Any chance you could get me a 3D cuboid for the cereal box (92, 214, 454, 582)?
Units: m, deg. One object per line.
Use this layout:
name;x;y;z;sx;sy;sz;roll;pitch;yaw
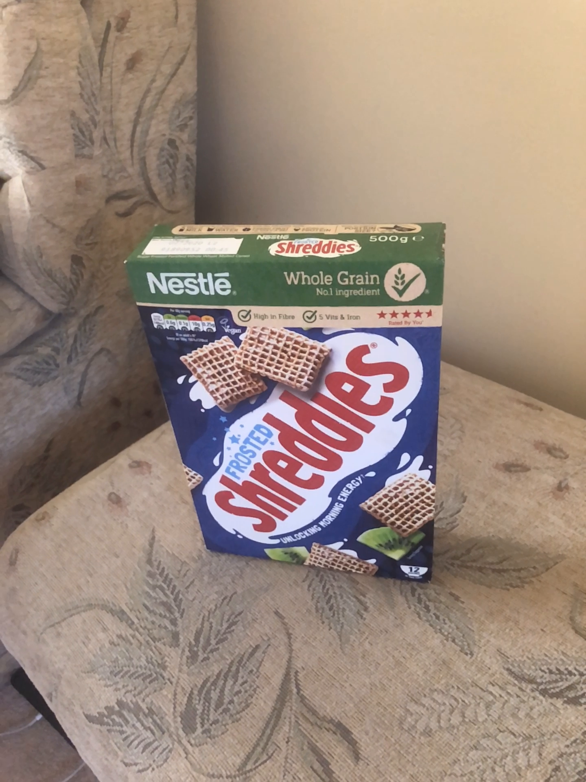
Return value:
cereal box;0.001;0.013;0.450;0.200;0.258;0.060;4;39;15
